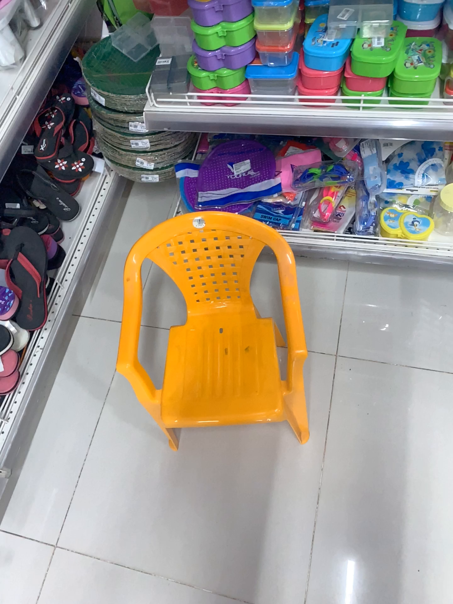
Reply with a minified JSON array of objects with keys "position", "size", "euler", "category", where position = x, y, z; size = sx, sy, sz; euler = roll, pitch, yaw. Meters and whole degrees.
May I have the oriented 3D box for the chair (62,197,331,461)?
[{"position":[-0.018,0.098,0.954],"size":[0.400,0.459,0.360],"euler":[-5,62,8],"category":"chair"}]
